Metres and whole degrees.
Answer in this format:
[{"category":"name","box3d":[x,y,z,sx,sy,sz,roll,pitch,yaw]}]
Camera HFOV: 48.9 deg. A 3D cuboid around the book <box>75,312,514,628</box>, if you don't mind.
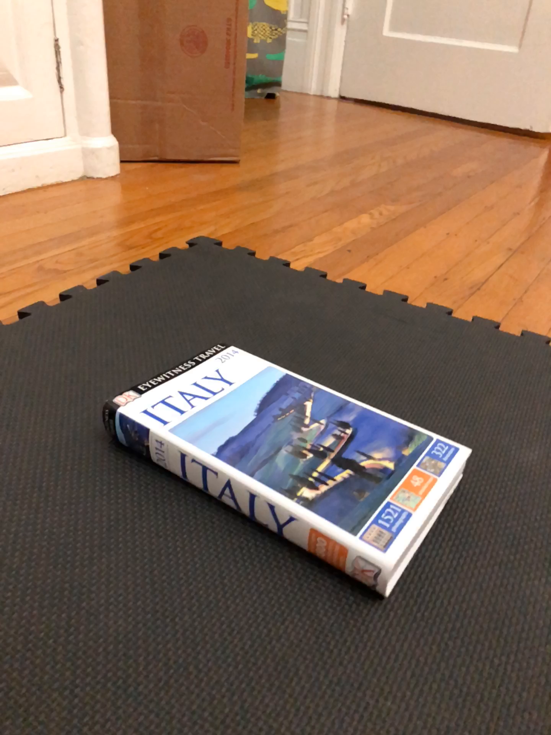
[{"category":"book","box3d":[0.013,0.044,0.419,0.250,0.040,0.161,22,35,26]}]
